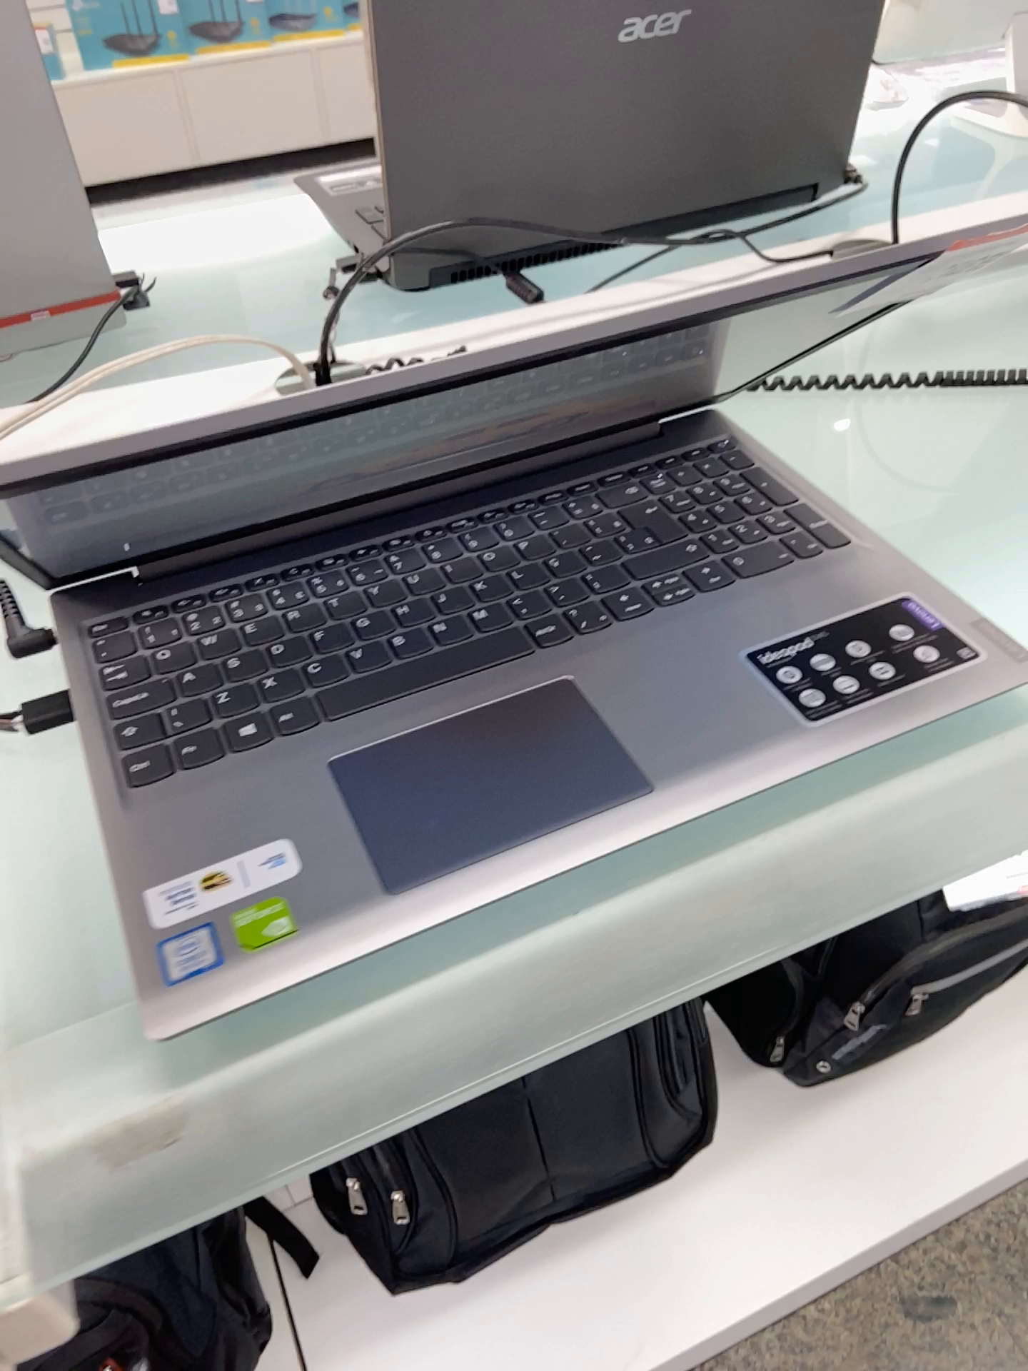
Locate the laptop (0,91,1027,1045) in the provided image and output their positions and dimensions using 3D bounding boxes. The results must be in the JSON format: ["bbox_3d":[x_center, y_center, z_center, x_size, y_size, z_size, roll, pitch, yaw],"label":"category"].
[{"bbox_3d":[-0.001,-0.083,0.403,0.362,0.160,0.246,-20,45,-17],"label":"laptop"}]
